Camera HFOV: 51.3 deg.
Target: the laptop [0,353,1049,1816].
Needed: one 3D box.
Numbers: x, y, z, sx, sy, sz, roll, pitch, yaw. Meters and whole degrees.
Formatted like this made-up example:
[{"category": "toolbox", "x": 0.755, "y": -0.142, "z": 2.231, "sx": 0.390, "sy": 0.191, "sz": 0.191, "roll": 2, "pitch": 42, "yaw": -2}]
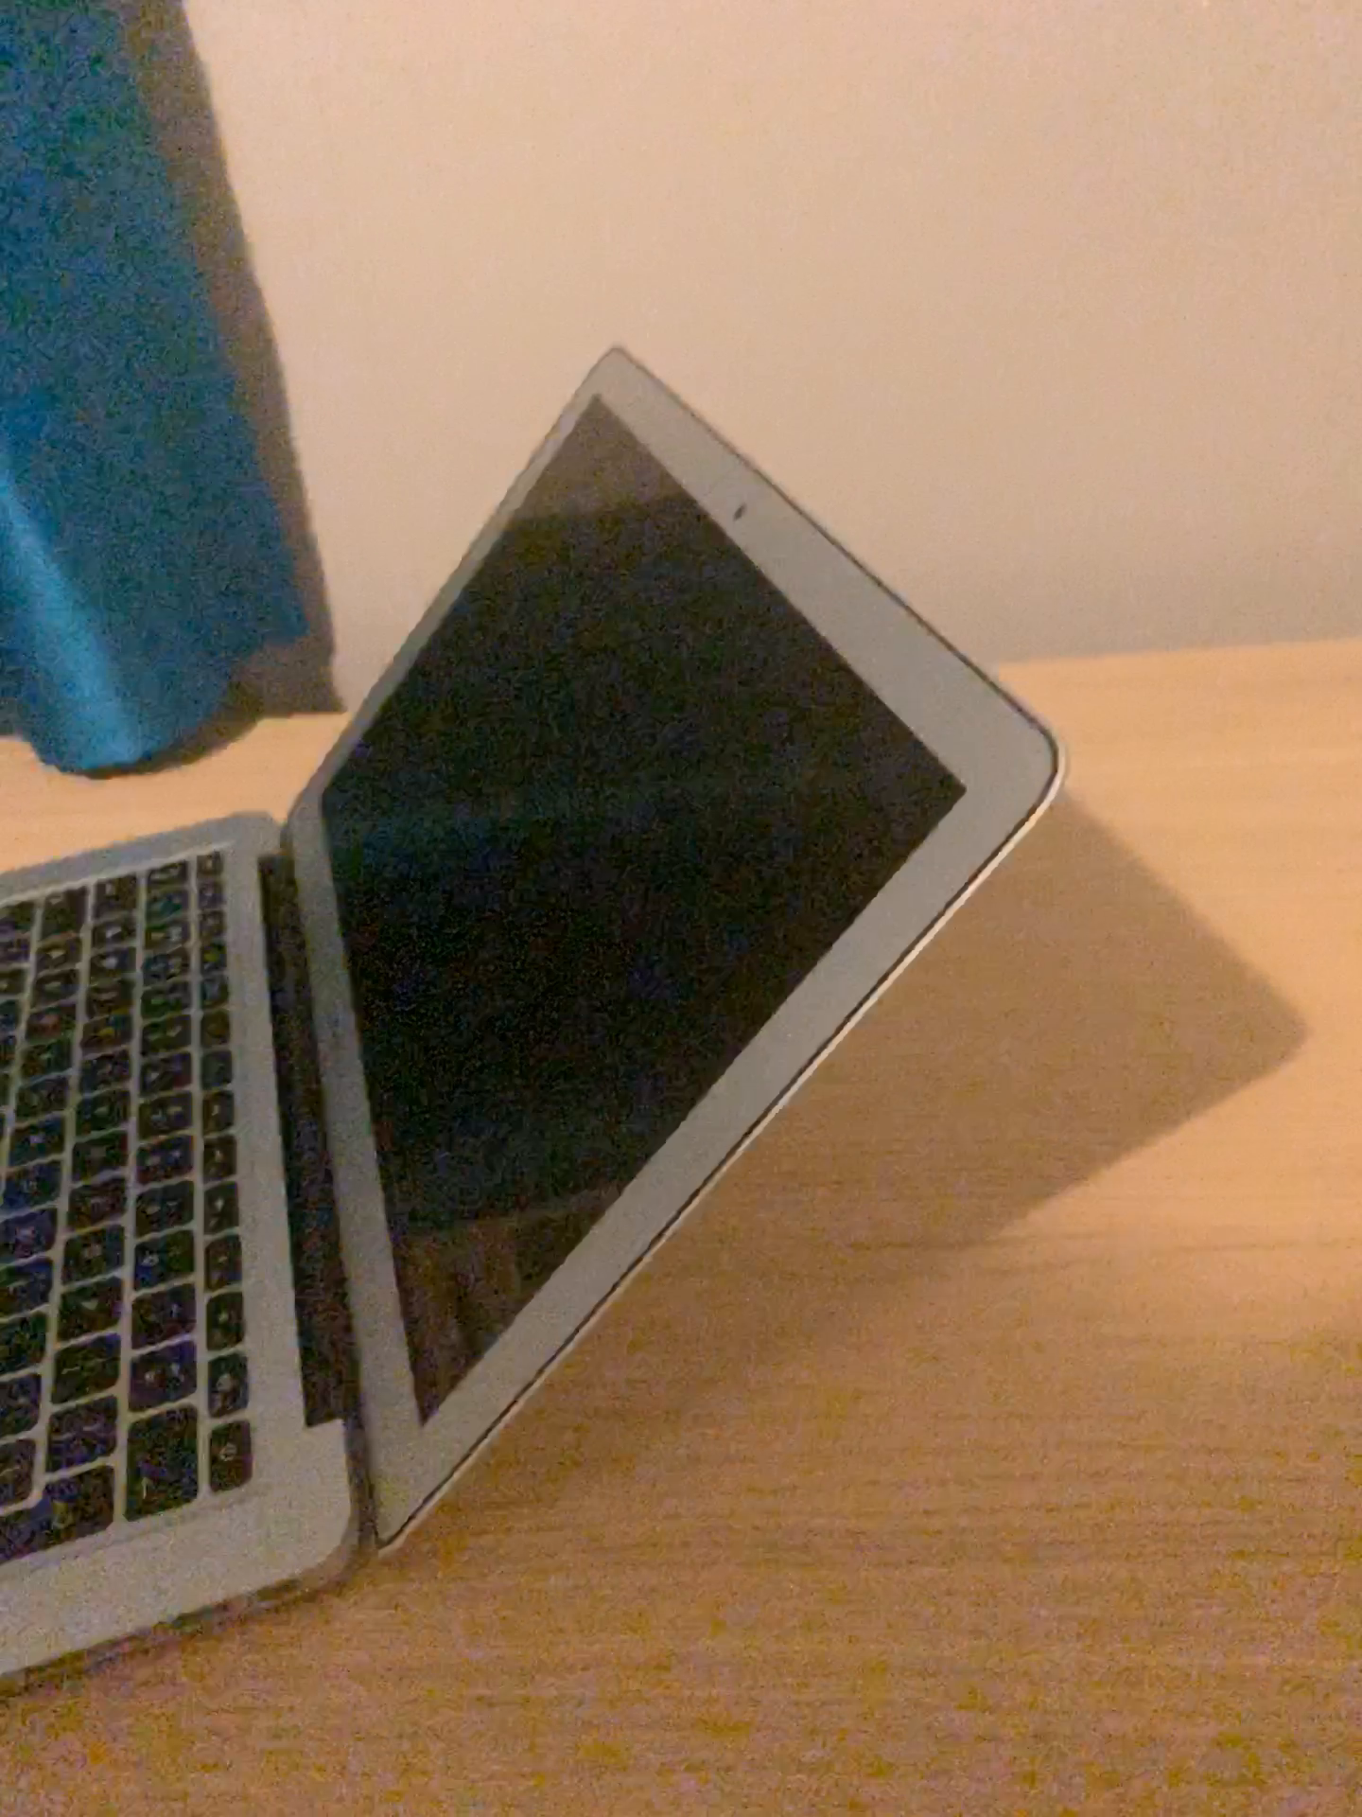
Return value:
[{"category": "laptop", "x": -0.149, "y": -0.002, "z": 0.365, "sx": 0.368, "sy": 0.144, "sz": 0.304, "roll": -14, "pitch": 36, "yaw": -11}]
